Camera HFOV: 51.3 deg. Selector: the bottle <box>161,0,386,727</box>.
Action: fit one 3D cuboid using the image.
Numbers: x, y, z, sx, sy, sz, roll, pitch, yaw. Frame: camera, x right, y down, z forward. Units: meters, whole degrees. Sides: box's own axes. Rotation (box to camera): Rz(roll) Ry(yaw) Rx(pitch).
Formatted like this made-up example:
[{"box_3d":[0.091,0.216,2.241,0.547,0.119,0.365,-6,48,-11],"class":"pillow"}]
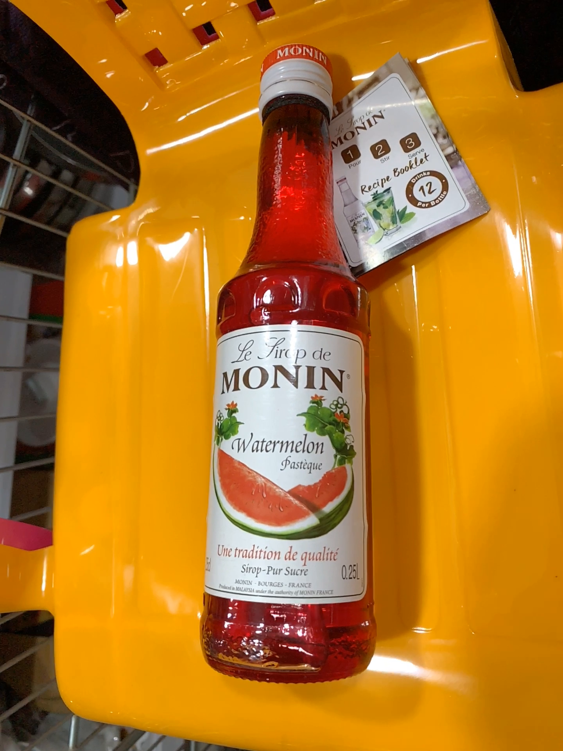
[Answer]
[{"box_3d":[0.001,-0.016,0.204,0.060,0.050,0.230,-2,79,13],"class":"bottle"}]
